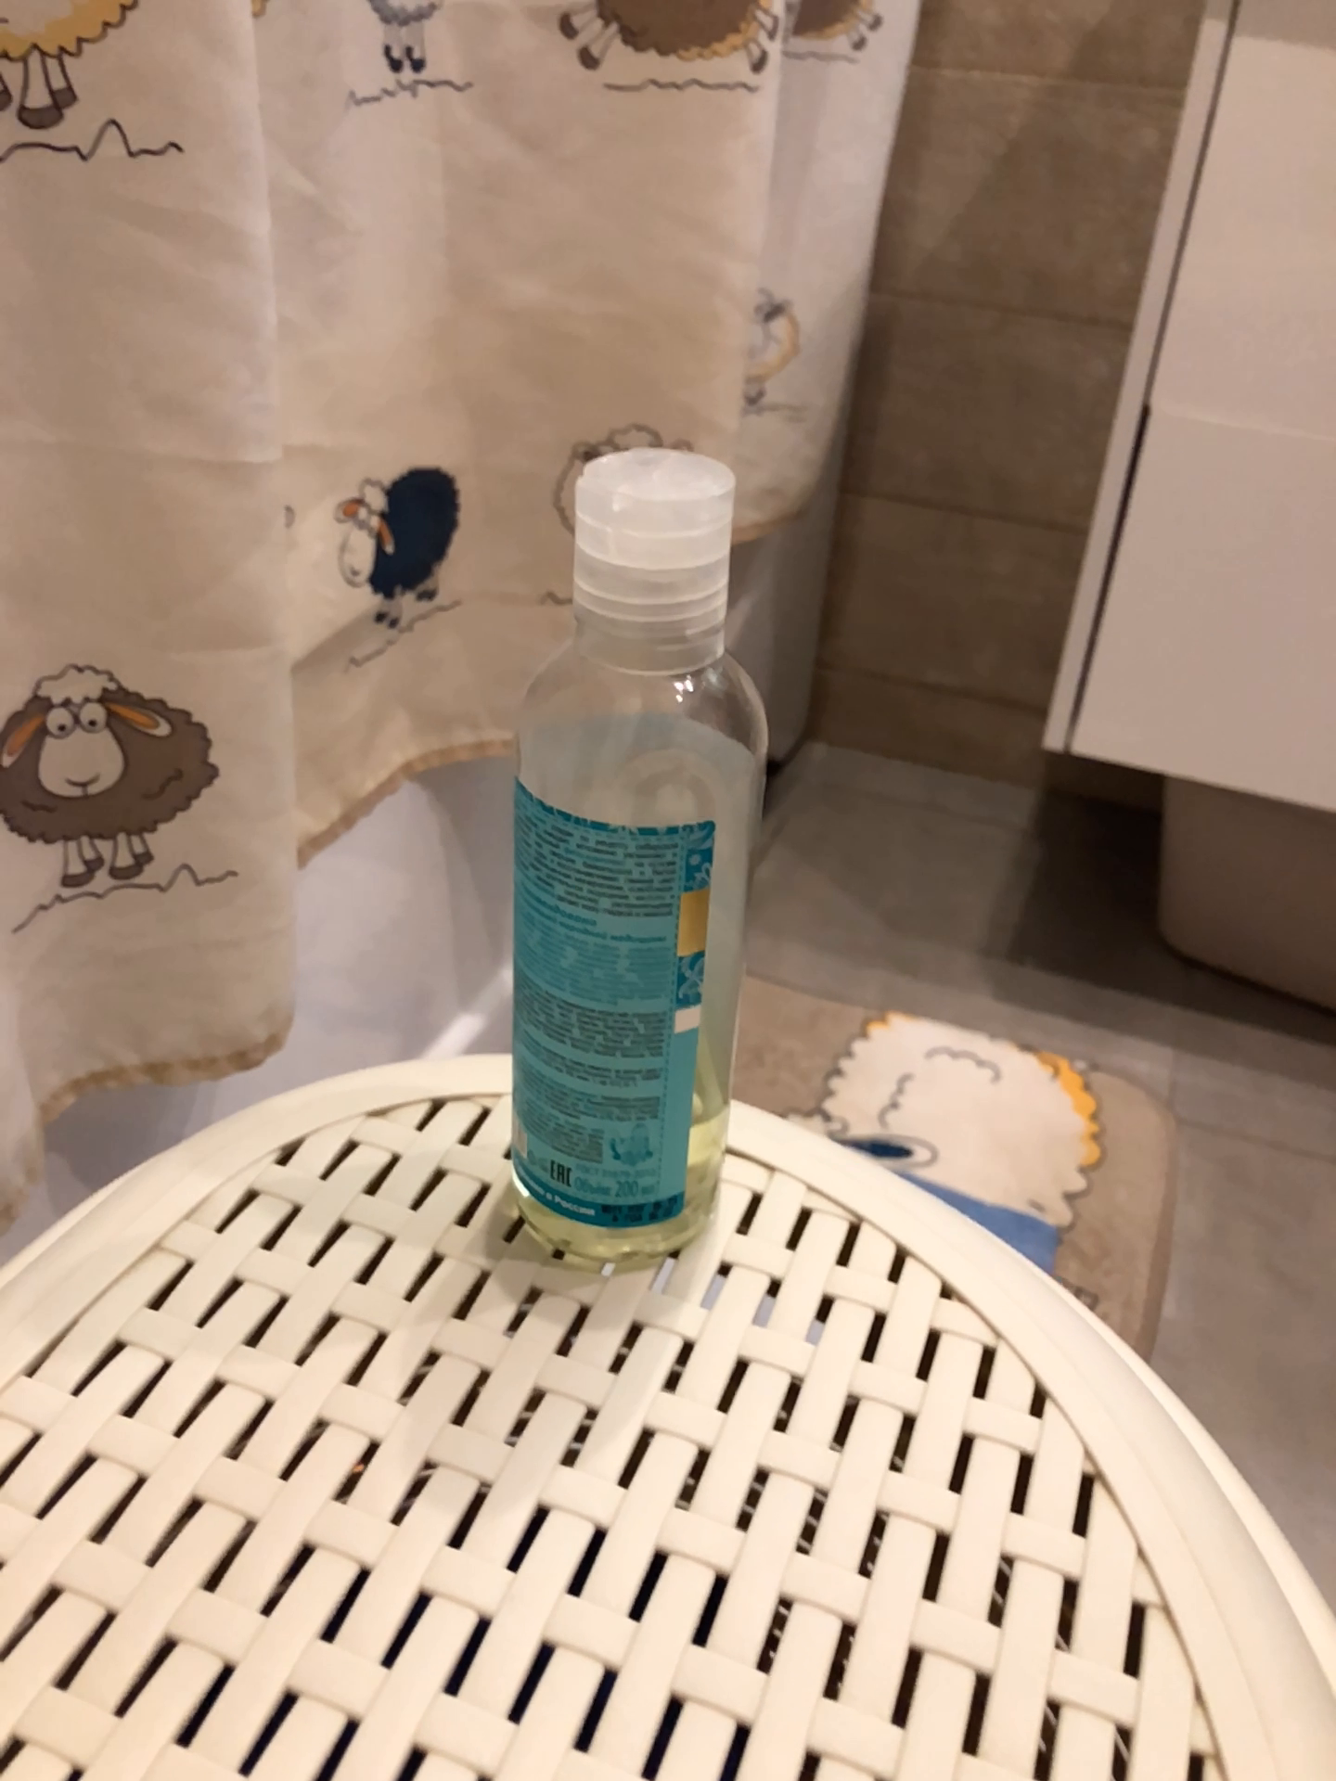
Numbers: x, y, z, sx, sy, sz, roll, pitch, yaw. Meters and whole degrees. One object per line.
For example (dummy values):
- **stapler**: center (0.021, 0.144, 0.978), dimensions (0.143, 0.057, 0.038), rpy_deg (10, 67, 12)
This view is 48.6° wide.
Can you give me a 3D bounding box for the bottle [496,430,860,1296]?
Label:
- **bottle**: center (-0.002, -0.001, 0.278), dimensions (0.045, 0.153, 0.045), rpy_deg (3, 31, -2)
